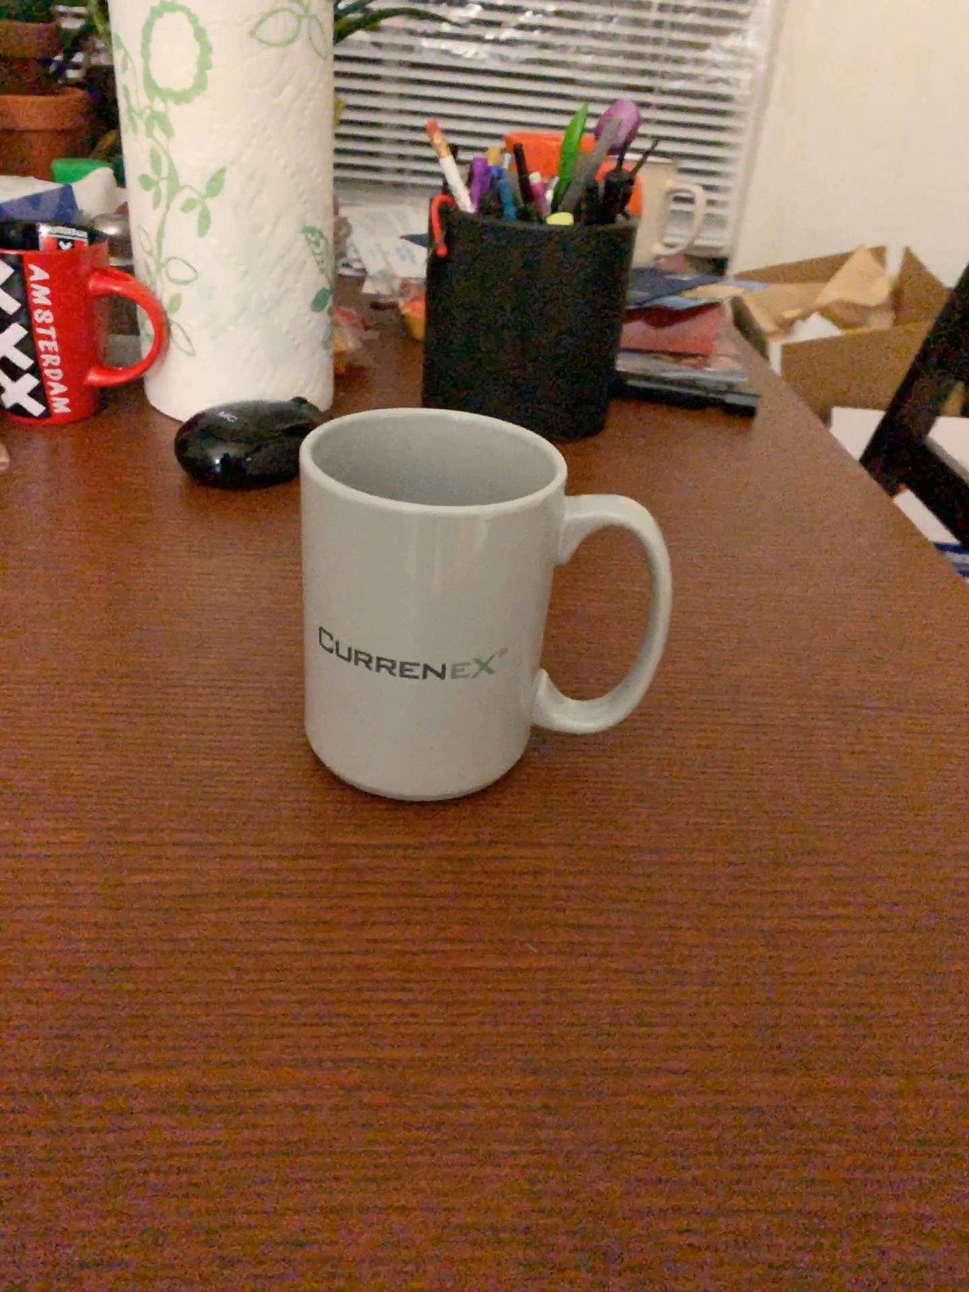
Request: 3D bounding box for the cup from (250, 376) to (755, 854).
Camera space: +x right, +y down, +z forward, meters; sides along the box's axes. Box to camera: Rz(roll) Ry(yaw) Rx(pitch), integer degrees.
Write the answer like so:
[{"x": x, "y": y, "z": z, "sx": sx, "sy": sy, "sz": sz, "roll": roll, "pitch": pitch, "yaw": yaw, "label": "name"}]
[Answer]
[{"x": 0.007, "y": -0.015, "z": 0.345, "sx": 0.140, "sy": 0.109, "sz": 0.101, "roll": 9, "pitch": 32, "yaw": 5, "label": "cup"}]
